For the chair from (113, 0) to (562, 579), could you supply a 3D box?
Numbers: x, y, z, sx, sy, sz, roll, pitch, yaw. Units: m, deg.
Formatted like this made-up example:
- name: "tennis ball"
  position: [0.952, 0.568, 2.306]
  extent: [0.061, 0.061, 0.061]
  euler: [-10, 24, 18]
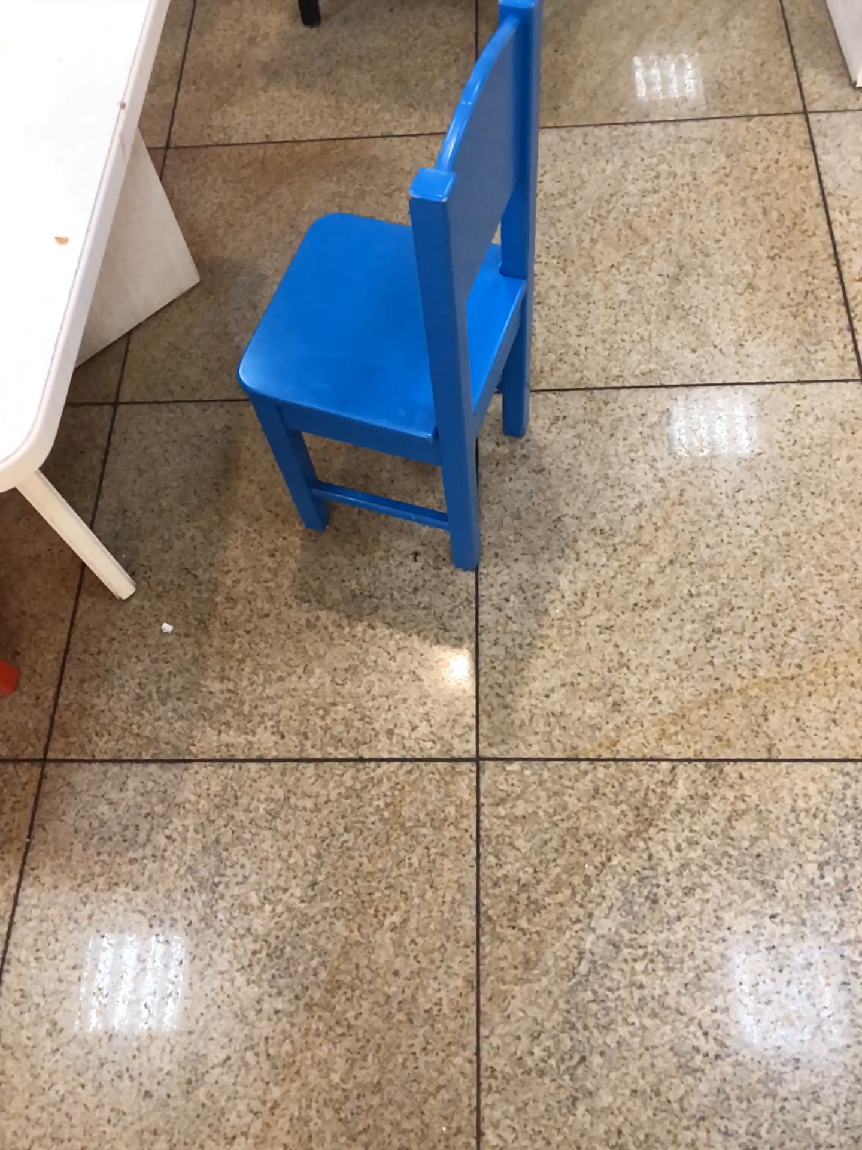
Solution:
- name: "chair"
  position: [-0.050, -0.302, 1.094]
  extent: [0.300, 0.639, 0.300]
  euler: [15, 66, 12]
